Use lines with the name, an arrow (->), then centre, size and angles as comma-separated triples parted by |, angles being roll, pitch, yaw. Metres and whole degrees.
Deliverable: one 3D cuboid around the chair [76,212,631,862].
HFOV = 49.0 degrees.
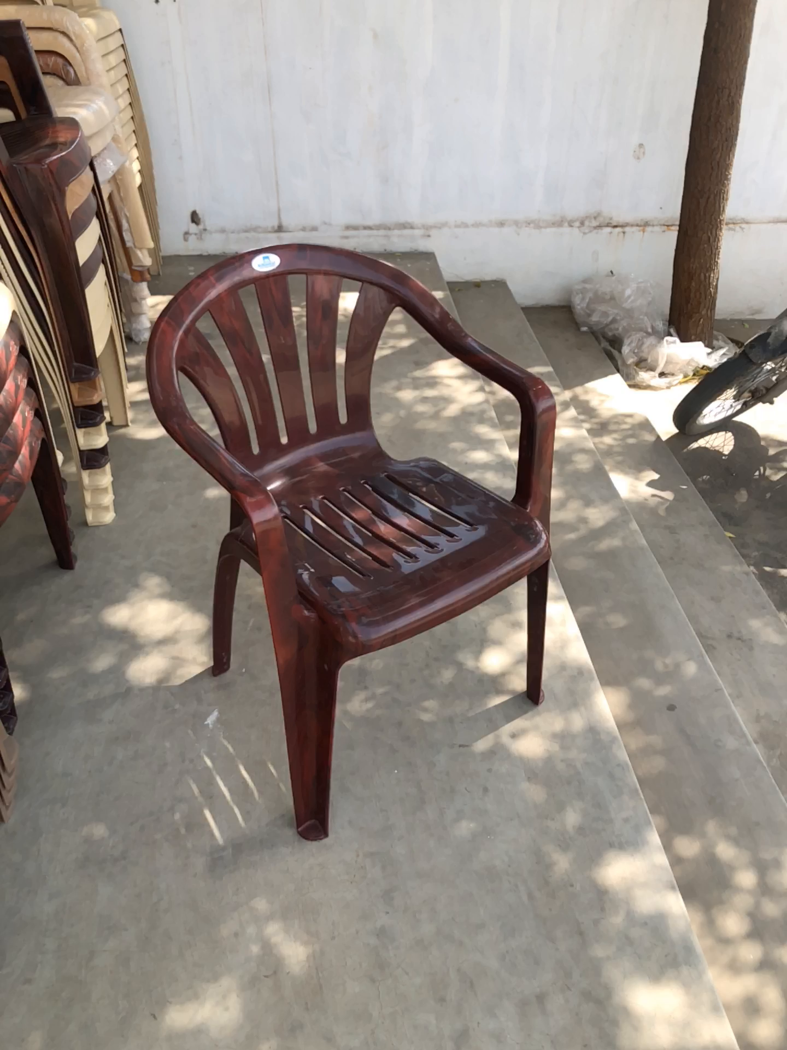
chair -> -0.063, -0.013, 1.432 | 0.582, 0.766, 0.521 | -25, 43, -30
